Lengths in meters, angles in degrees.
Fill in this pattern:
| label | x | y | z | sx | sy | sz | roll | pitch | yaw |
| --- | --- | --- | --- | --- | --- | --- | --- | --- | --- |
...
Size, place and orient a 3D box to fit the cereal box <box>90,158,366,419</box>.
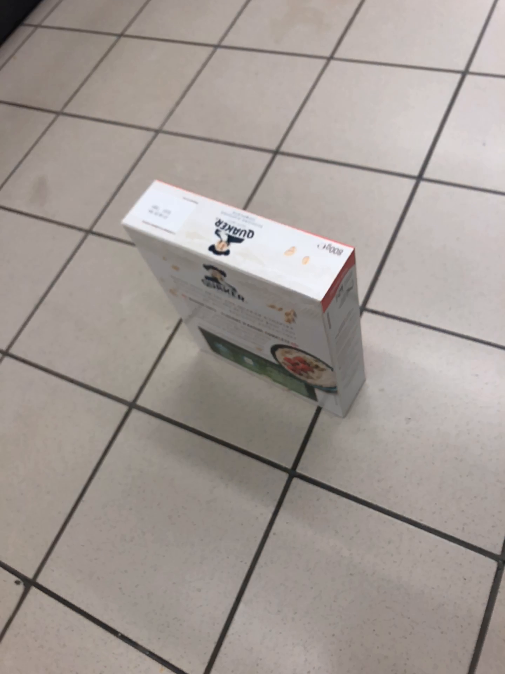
| label | x | y | z | sx | sy | sz | roll | pitch | yaw |
| --- | --- | --- | --- | --- | --- | --- | --- | --- | --- |
| cereal box | -0.007 | -0.036 | 0.526 | 0.210 | 0.229 | 0.060 | 23 | 67 | 24 |
